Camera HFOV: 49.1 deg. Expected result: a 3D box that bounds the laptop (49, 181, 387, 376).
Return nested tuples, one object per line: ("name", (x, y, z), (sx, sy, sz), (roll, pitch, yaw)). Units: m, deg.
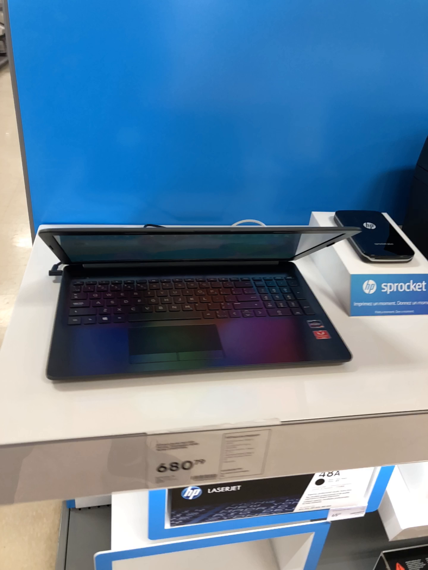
("laptop", (-0.011, -0.026, 0.608), (0.355, 0.130, 0.243), (-1, 31, -14))
